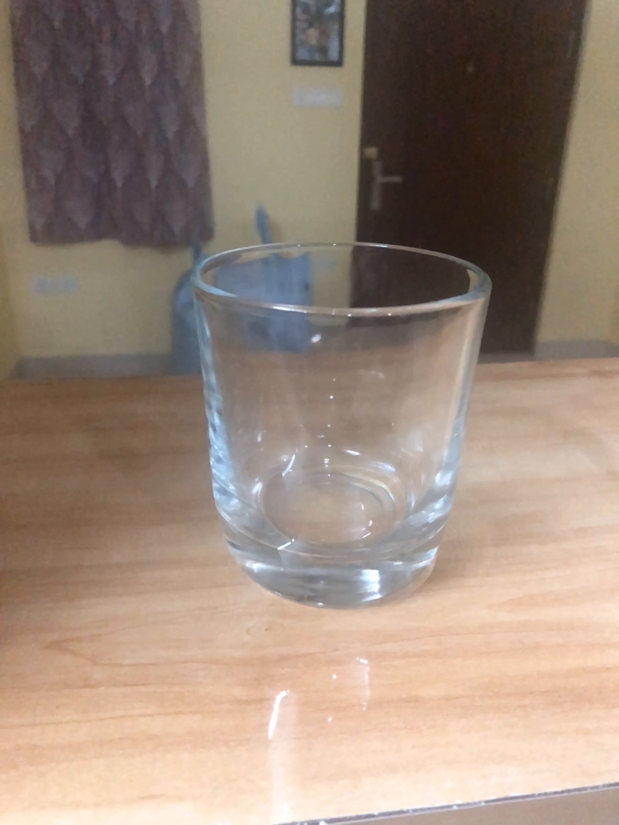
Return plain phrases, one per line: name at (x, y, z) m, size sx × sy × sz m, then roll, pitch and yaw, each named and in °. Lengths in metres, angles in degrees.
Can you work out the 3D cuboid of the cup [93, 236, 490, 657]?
cup at (0.001, 0.002, 0.211) m, size 0.090 × 0.090 × 0.080 m, roll 8°, pitch 25°, yaw 15°
